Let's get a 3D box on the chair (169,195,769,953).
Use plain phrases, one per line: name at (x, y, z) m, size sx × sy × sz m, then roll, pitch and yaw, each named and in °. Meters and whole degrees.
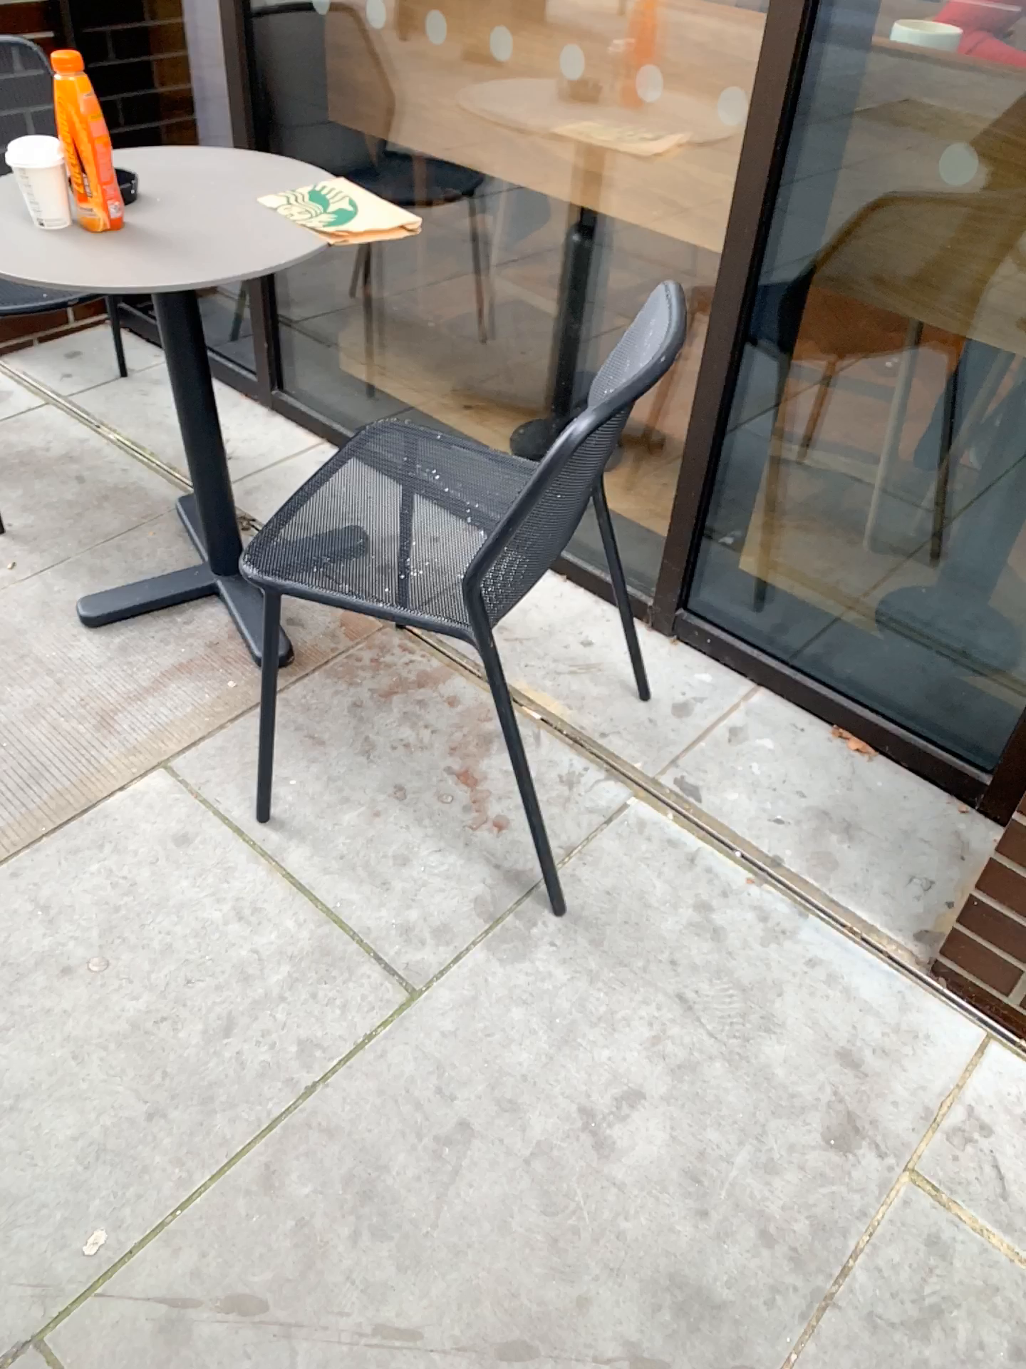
chair at (-0.039, -0.168, 1.527) m, size 0.541 × 0.797 × 0.595 m, roll 17°, pitch 42°, yaw 13°
